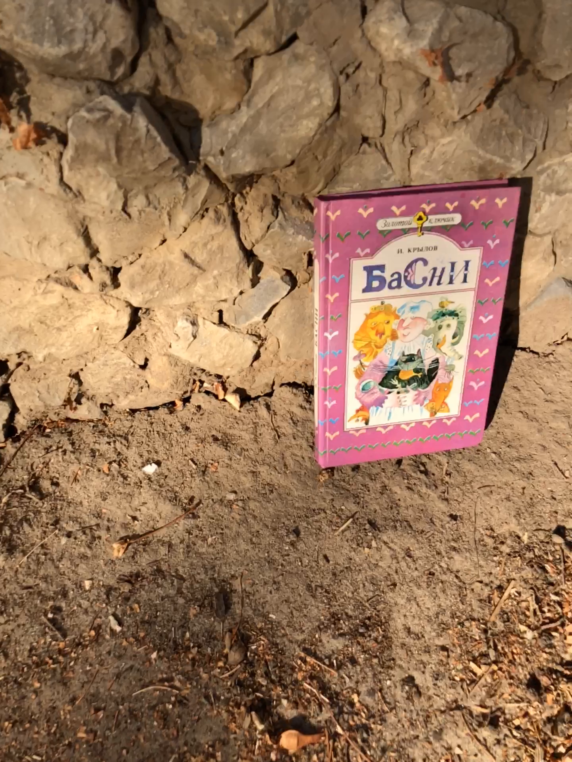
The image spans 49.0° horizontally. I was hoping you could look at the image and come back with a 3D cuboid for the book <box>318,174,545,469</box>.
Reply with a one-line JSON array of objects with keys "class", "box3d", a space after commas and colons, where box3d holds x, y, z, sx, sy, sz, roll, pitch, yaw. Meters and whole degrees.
[{"class": "book", "box3d": [0.096, -0.038, 0.446, 0.142, 0.201, 0.025, -6, 27, -12]}]
